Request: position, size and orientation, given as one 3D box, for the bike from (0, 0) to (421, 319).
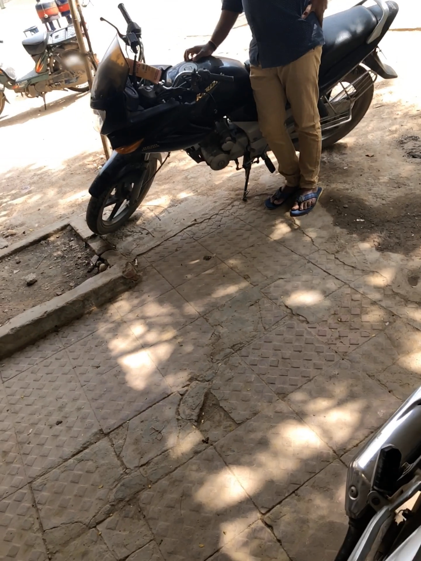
[{"bbox_3d":[0.157,-0.858,2.317,1.893,1.178,0.800,-24,38,-10],"label":"bike"}]
